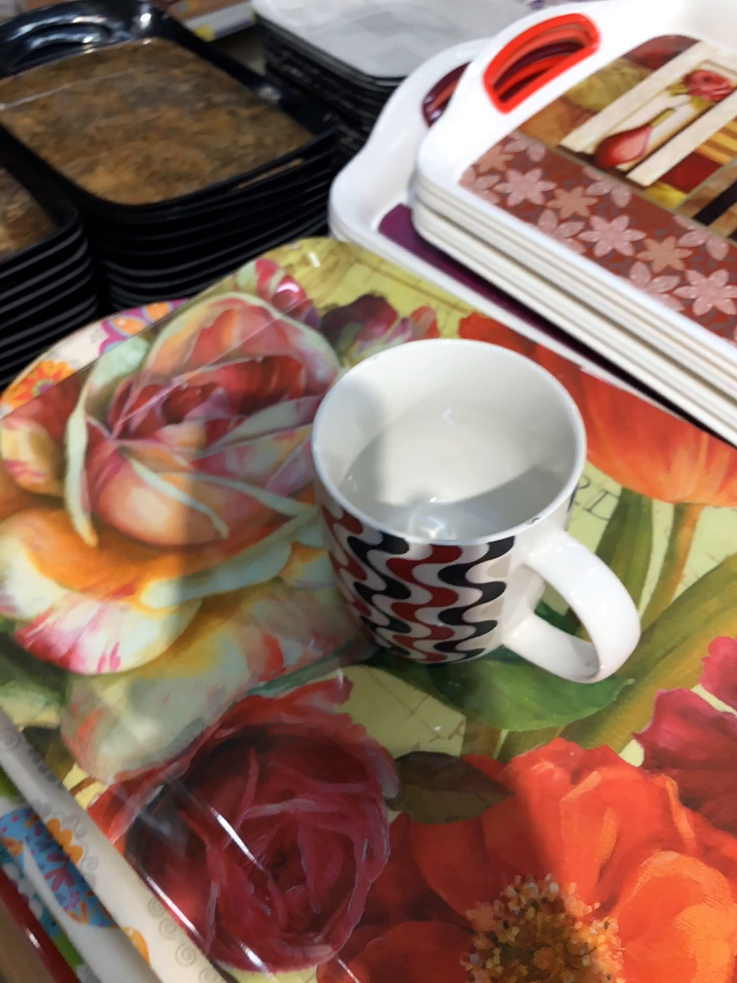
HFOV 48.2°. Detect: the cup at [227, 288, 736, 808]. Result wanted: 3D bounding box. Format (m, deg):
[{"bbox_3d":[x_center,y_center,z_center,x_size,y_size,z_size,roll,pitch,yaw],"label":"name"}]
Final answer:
[{"bbox_3d":[0.035,0.013,0.275,0.130,0.080,0.090,36,59,25],"label":"cup"}]
